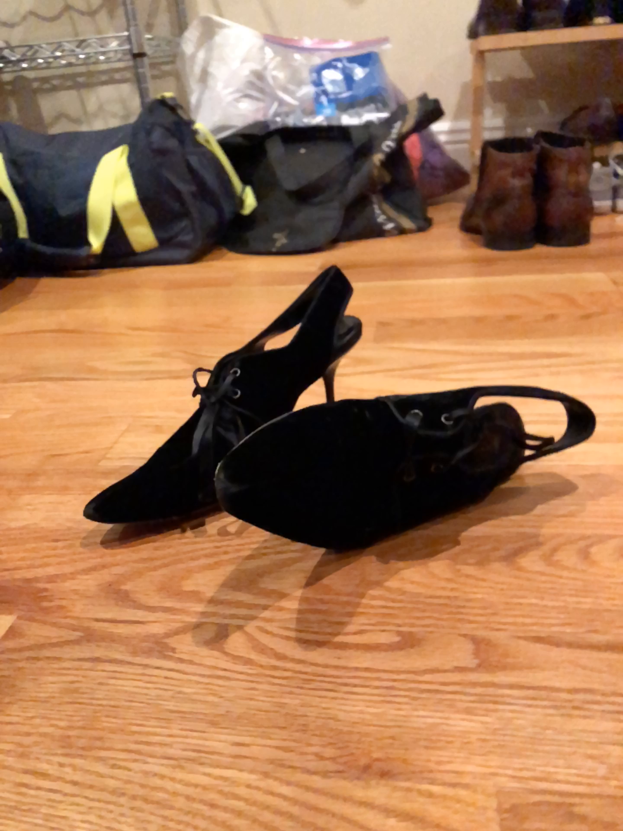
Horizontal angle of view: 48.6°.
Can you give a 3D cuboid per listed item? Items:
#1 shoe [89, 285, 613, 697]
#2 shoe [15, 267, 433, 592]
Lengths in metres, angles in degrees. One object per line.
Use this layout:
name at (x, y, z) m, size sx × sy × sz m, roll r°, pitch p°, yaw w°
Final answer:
shoe at (0.031, 0.016, 0.379) m, size 0.252 × 0.107 × 0.118 m, roll -20°, pitch 28°, yaw -29°
shoe at (-0.043, -0.010, 0.471) m, size 0.253 × 0.117 × 0.107 m, roll -23°, pitch 30°, yaw -34°
